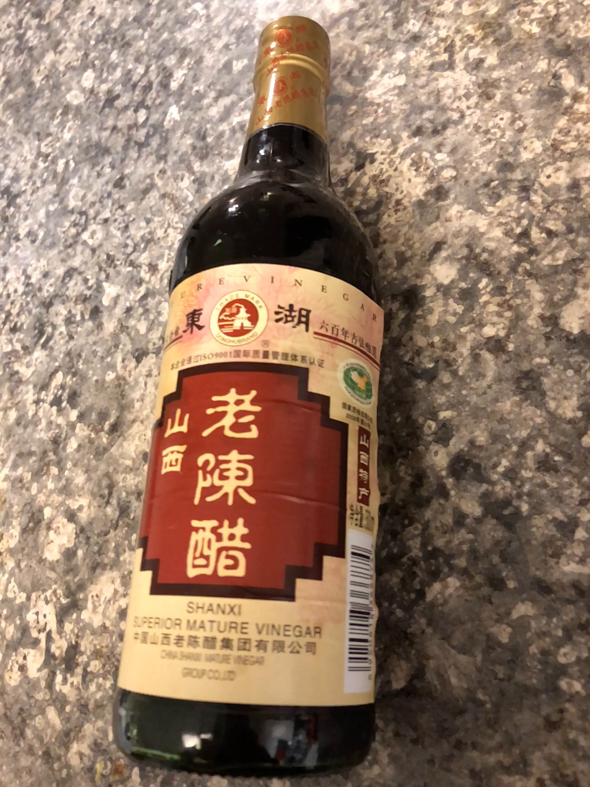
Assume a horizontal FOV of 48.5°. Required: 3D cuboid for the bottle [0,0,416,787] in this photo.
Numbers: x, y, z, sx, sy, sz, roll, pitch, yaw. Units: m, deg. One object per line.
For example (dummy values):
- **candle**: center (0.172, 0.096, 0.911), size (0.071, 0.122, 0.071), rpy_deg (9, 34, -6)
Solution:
- **bottle**: center (-0.009, -0.024, 0.192), size (0.070, 0.070, 0.240), rpy_deg (-5, 68, 24)
